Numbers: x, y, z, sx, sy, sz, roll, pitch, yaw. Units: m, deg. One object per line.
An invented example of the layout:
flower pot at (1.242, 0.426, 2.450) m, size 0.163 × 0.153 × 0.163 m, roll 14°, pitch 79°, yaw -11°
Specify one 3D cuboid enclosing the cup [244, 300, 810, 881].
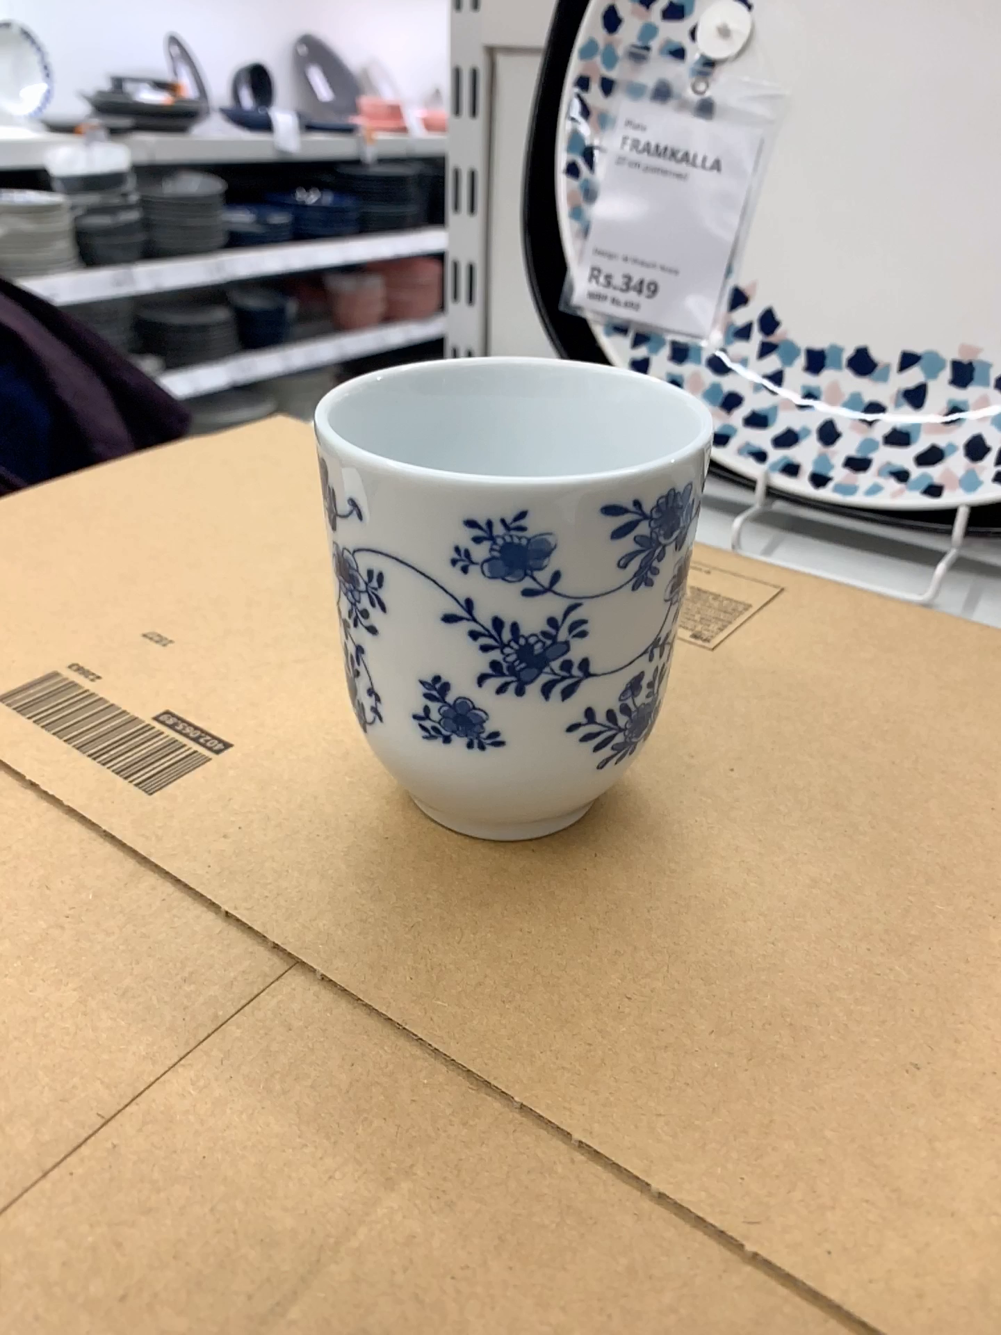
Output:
cup at (0.004, -0.020, 0.202) m, size 0.080 × 0.080 × 0.080 m, roll 2°, pitch 29°, yaw -1°
